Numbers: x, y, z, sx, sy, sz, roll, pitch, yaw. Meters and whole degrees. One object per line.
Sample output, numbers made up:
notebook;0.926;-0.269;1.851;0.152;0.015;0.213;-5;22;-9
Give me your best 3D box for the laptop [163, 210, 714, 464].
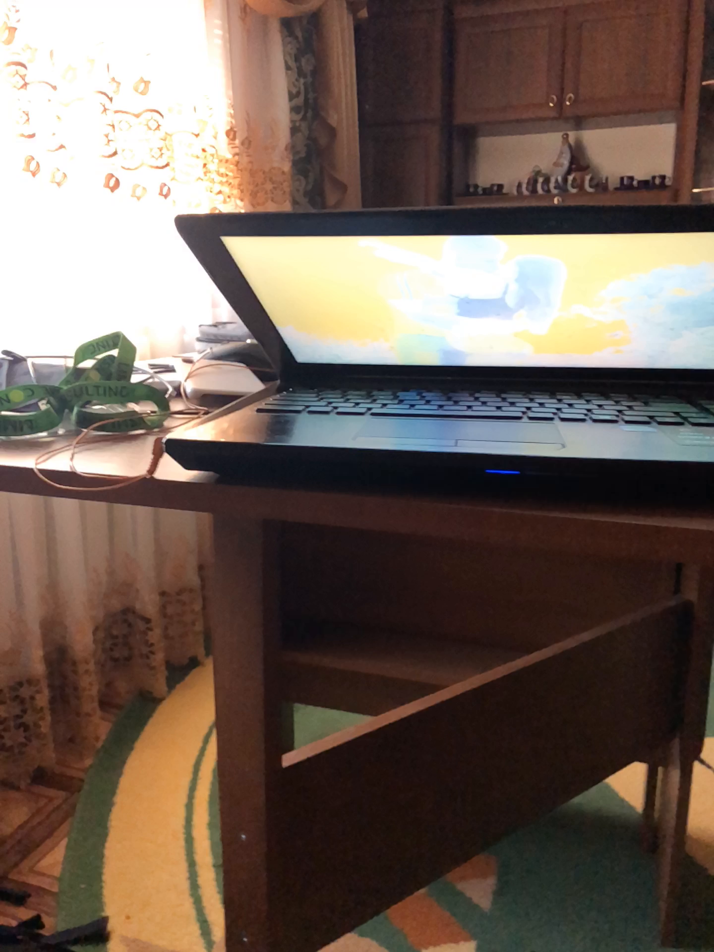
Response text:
laptop;0.107;-0.087;0.455;0.372;0.095;0.239;2;14;11
